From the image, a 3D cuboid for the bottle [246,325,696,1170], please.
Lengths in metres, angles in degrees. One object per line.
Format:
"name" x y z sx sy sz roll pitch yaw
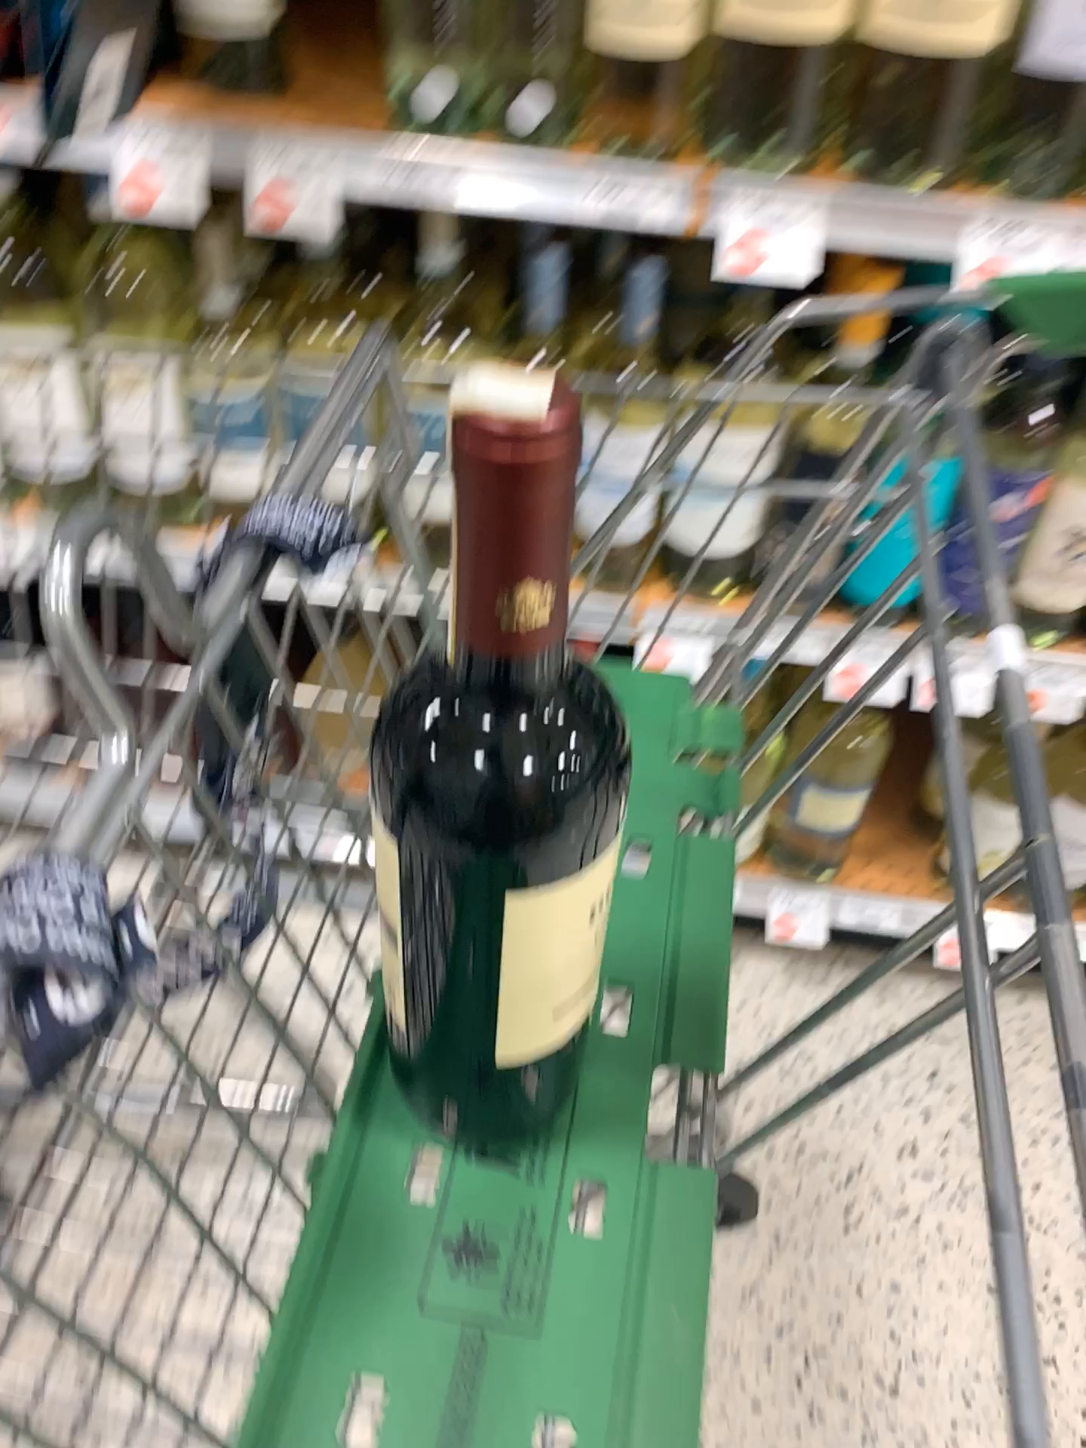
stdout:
"bottle" -0.018 0.030 0.339 0.080 0.267 0.081 2 45 -2
